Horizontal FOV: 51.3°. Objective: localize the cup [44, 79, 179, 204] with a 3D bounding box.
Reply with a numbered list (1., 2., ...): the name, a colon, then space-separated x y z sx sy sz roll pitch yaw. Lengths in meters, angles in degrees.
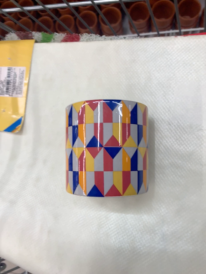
1. cup: 0.003 0.006 0.202 0.100 0.080 0.080 -4 85 52
